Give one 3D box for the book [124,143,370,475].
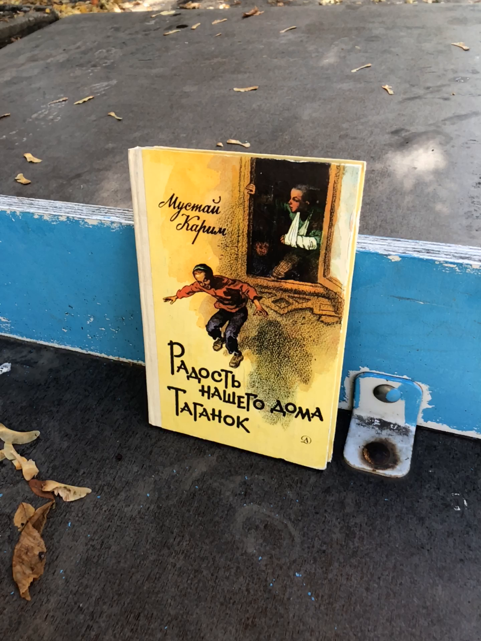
[{"bbox_3d":[-0.002,-0.005,0.374,0.155,0.217,0.020,10,26,19],"label":"book"}]
